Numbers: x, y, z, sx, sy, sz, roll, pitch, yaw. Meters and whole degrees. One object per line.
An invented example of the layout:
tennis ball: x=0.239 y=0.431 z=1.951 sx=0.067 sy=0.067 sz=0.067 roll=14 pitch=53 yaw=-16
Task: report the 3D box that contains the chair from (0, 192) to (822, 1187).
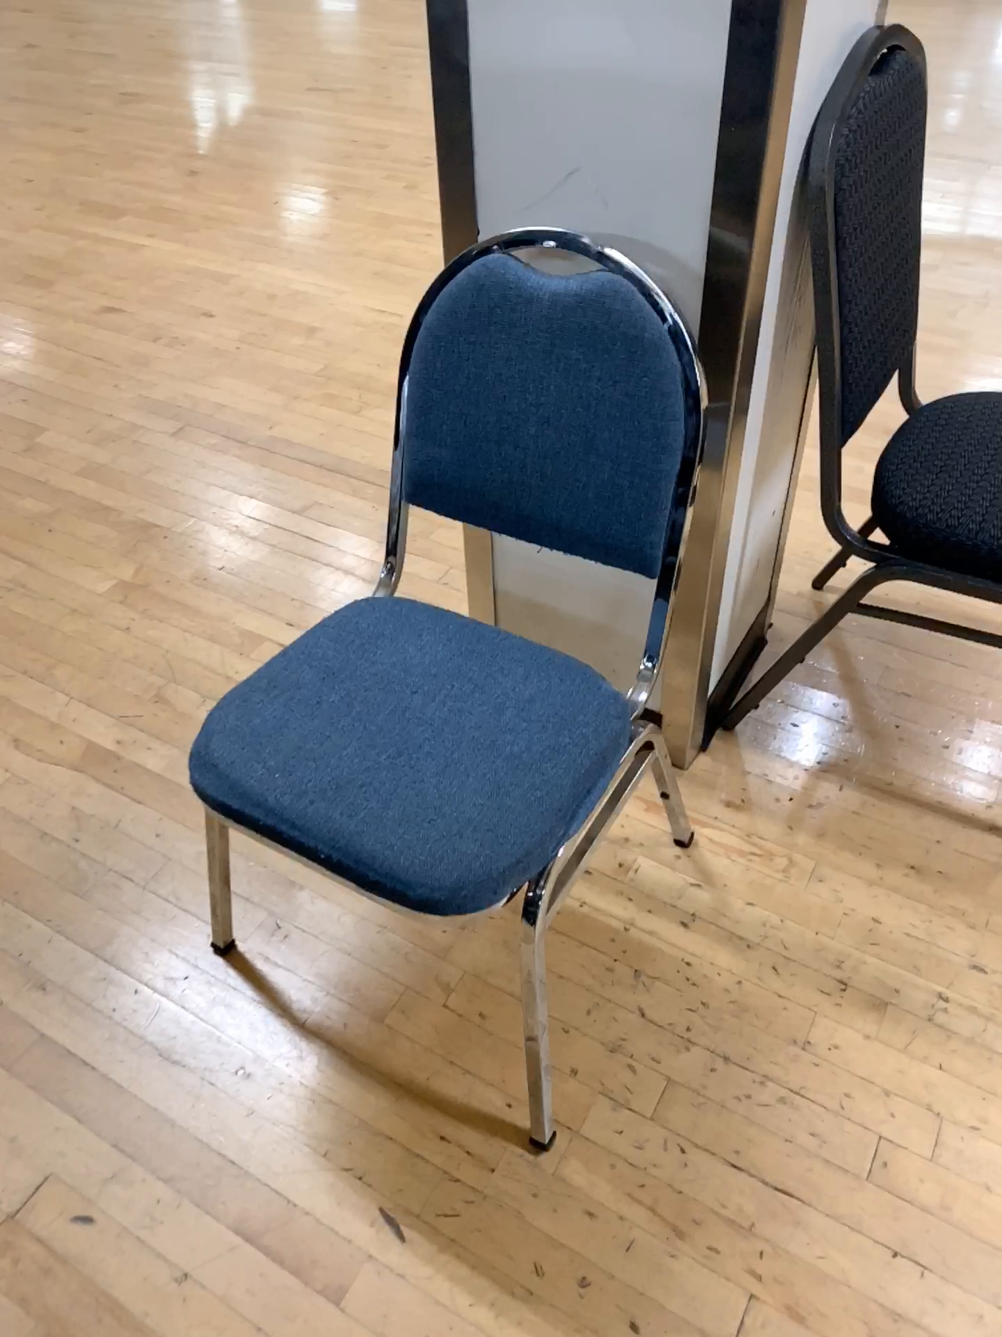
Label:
chair: x=-0.061 y=0.034 z=1.187 sx=0.549 sy=0.888 sz=0.555 roll=21 pitch=48 yaw=24
